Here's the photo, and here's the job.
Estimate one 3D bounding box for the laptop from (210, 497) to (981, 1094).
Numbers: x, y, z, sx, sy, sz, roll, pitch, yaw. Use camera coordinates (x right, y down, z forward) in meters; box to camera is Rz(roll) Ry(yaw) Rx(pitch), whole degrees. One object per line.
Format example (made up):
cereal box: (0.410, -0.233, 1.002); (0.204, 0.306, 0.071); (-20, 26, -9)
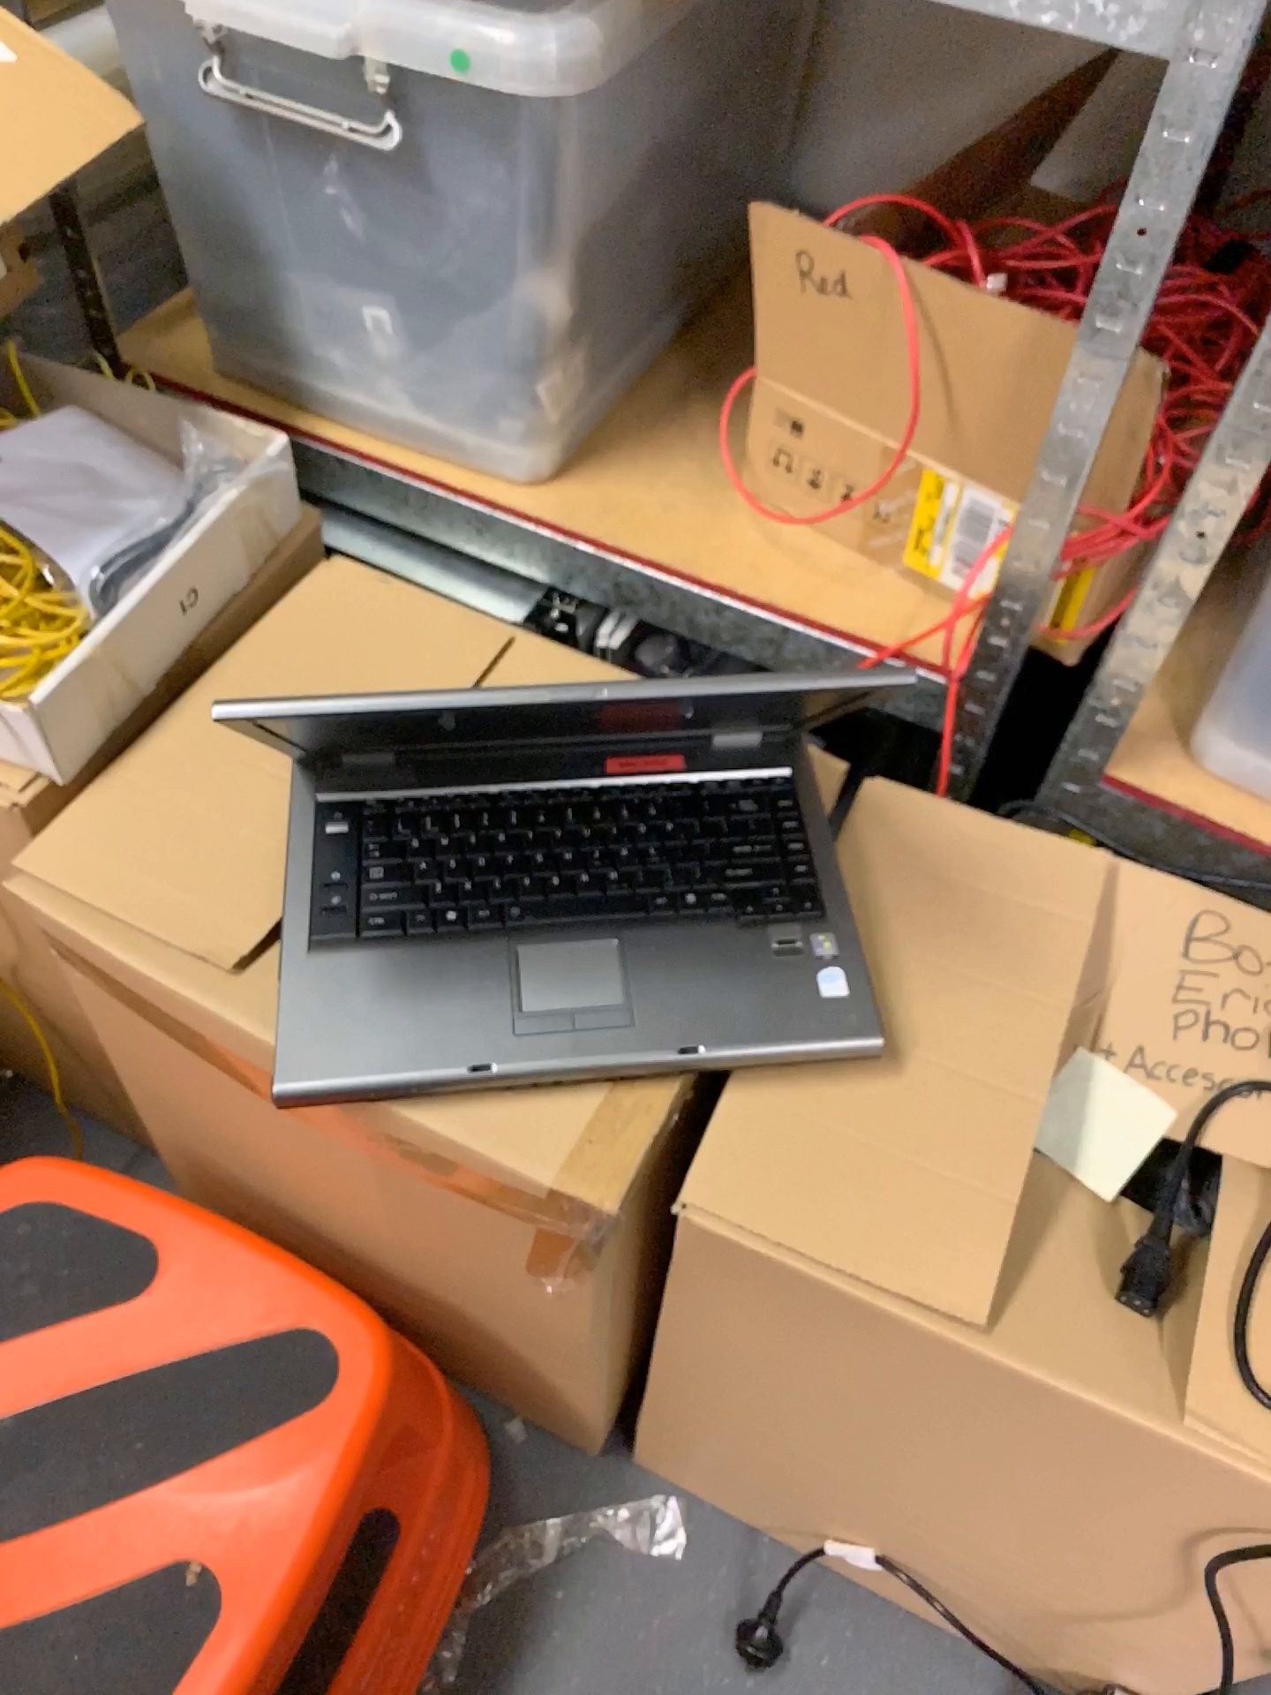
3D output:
laptop: (-0.036, -0.033, 0.755); (0.352, 0.203, 0.254); (-4, 52, -5)
